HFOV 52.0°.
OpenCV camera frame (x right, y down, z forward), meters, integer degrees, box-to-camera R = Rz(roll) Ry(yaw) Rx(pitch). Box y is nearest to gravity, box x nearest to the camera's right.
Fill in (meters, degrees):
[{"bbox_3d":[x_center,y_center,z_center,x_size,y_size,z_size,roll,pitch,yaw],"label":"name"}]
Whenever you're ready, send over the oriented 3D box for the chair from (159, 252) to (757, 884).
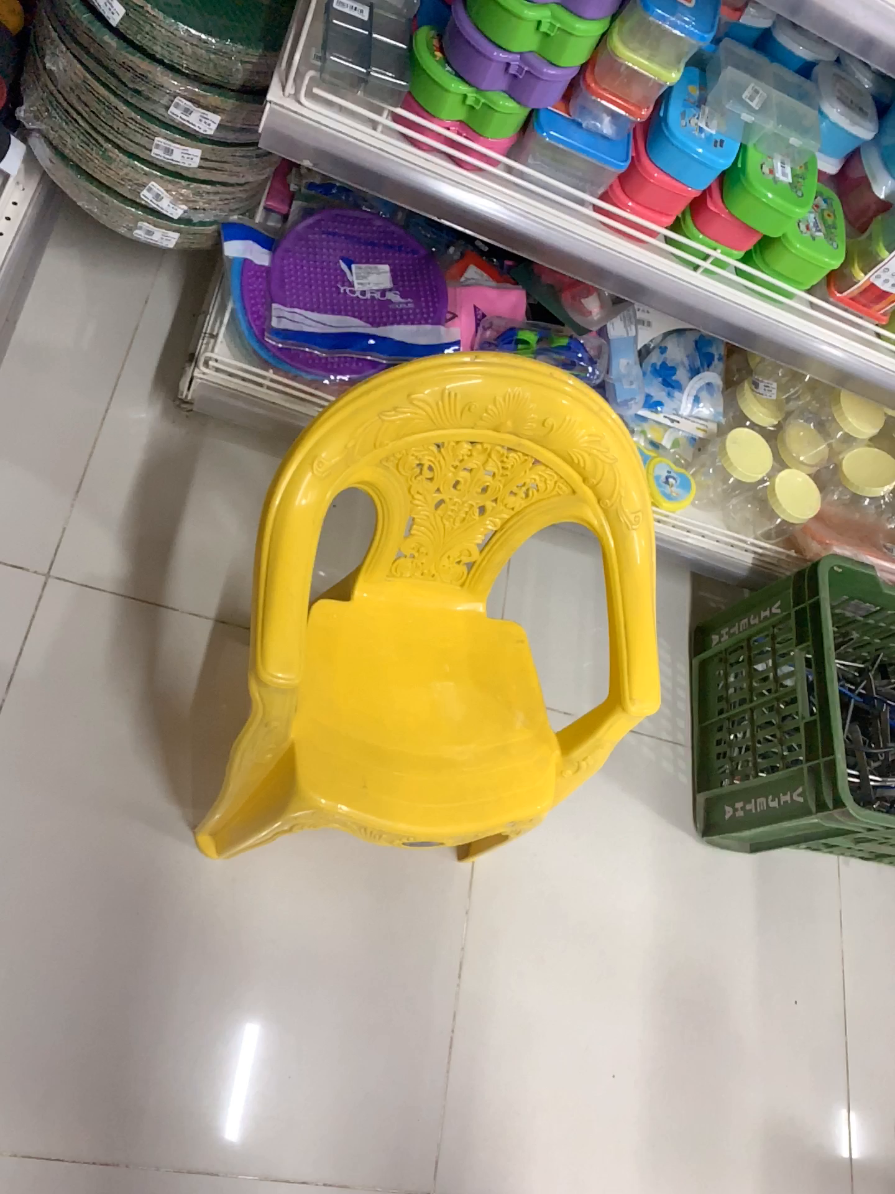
[{"bbox_3d":[-0.032,0.032,0.940,0.421,0.449,0.460,8,67,-20],"label":"chair"}]
